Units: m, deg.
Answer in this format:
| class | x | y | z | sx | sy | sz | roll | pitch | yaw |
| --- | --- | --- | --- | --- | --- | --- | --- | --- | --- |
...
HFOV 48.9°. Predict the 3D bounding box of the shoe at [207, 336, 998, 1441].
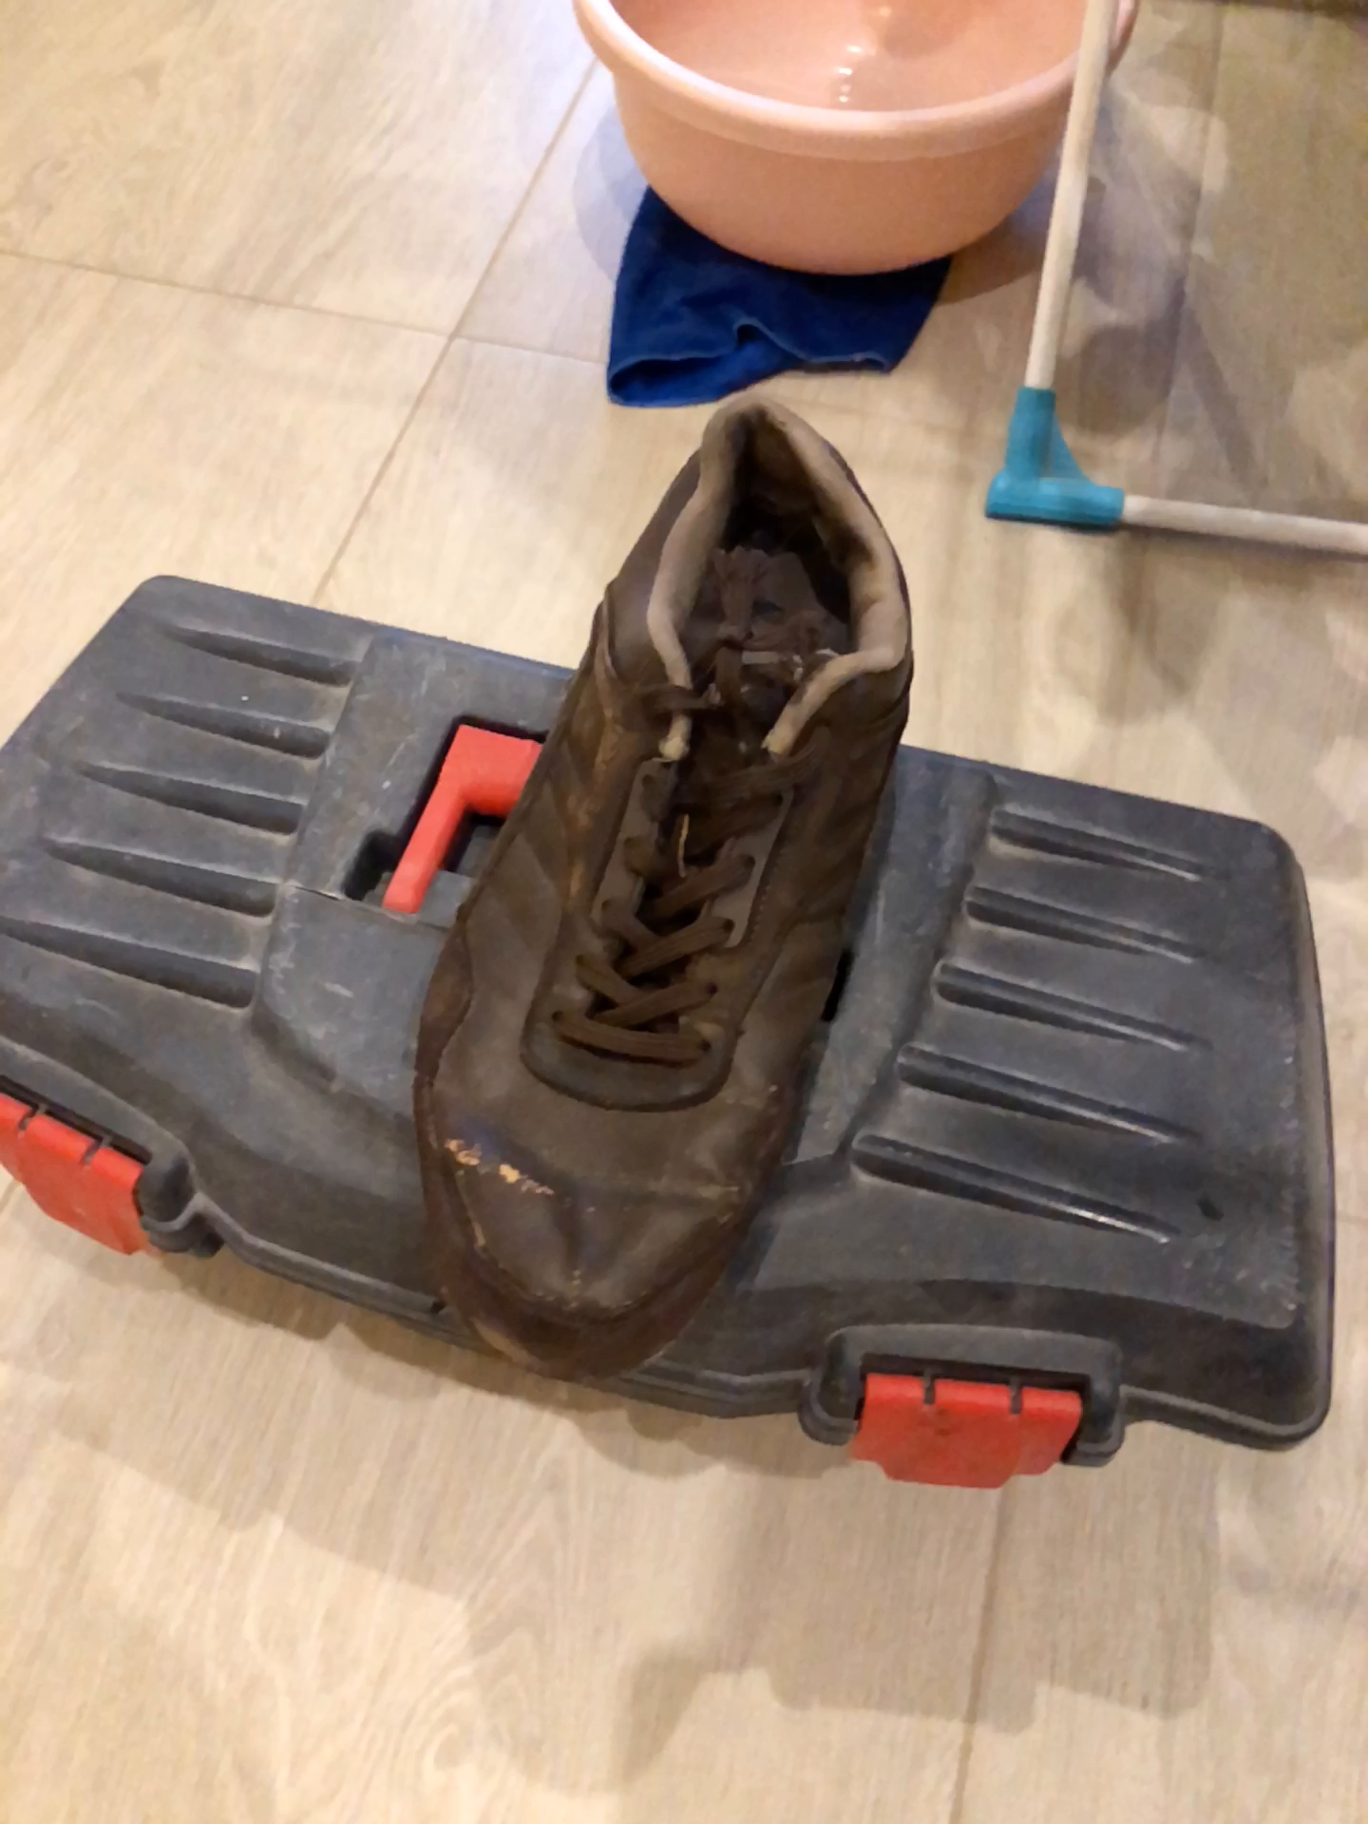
| class | x | y | z | sx | sy | sz | roll | pitch | yaw |
| --- | --- | --- | --- | --- | --- | --- | --- | --- | --- |
| shoe | -0.005 | -0.019 | 0.421 | 0.110 | 0.100 | 0.281 | 16 | 61 | 9 |
